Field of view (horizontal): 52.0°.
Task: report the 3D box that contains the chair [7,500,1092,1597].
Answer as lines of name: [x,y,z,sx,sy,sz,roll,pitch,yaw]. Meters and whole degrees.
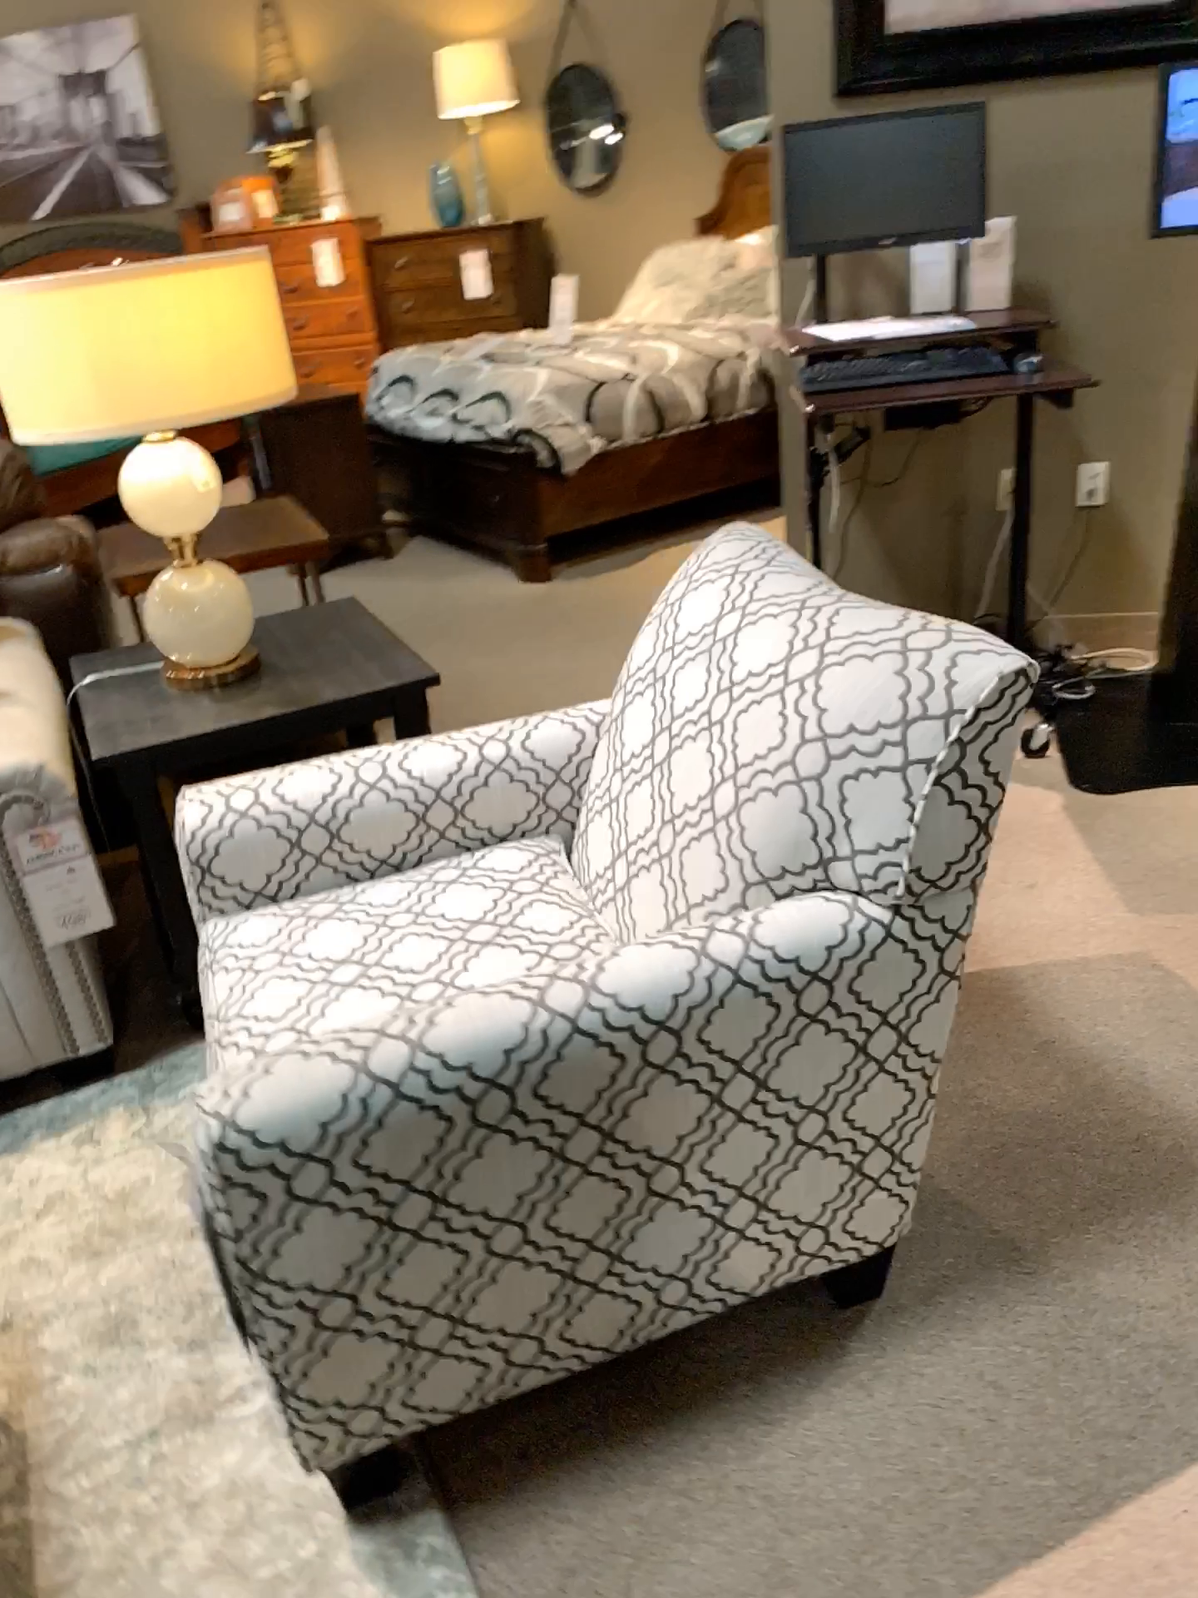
chair: [-0.090,0.197,1.597,0.964,0.847,0.879,-14,27,-15]
